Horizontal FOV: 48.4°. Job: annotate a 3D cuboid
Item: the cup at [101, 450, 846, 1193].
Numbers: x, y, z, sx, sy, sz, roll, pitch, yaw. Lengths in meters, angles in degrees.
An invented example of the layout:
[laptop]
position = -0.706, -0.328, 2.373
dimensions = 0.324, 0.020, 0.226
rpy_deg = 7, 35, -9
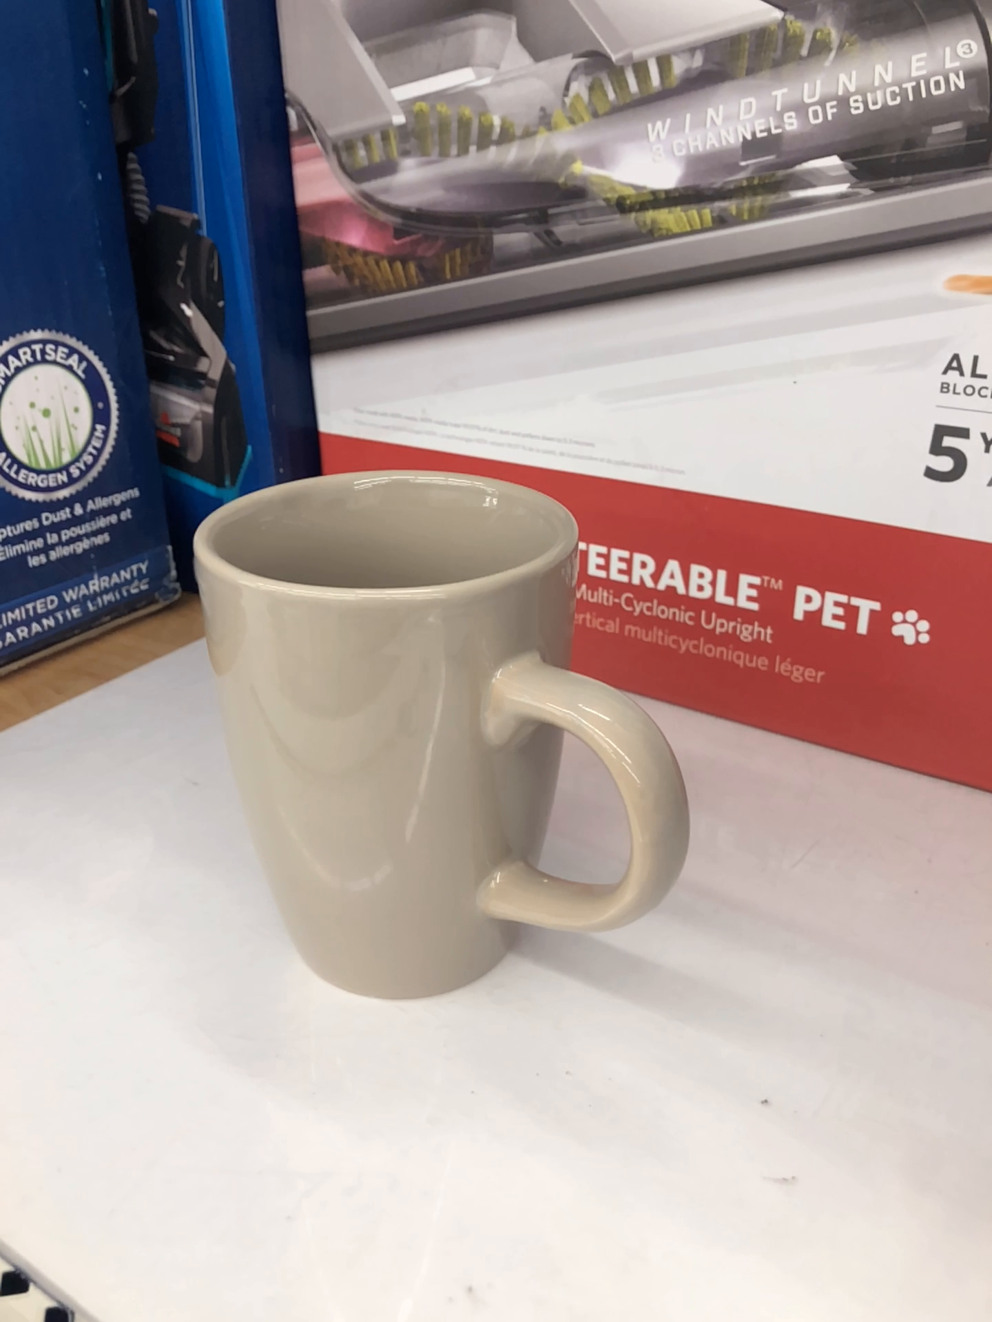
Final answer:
[cup]
position = -0.008, 0.019, 0.243
dimensions = 0.126, 0.092, 0.087
rpy_deg = 22, 34, 39
